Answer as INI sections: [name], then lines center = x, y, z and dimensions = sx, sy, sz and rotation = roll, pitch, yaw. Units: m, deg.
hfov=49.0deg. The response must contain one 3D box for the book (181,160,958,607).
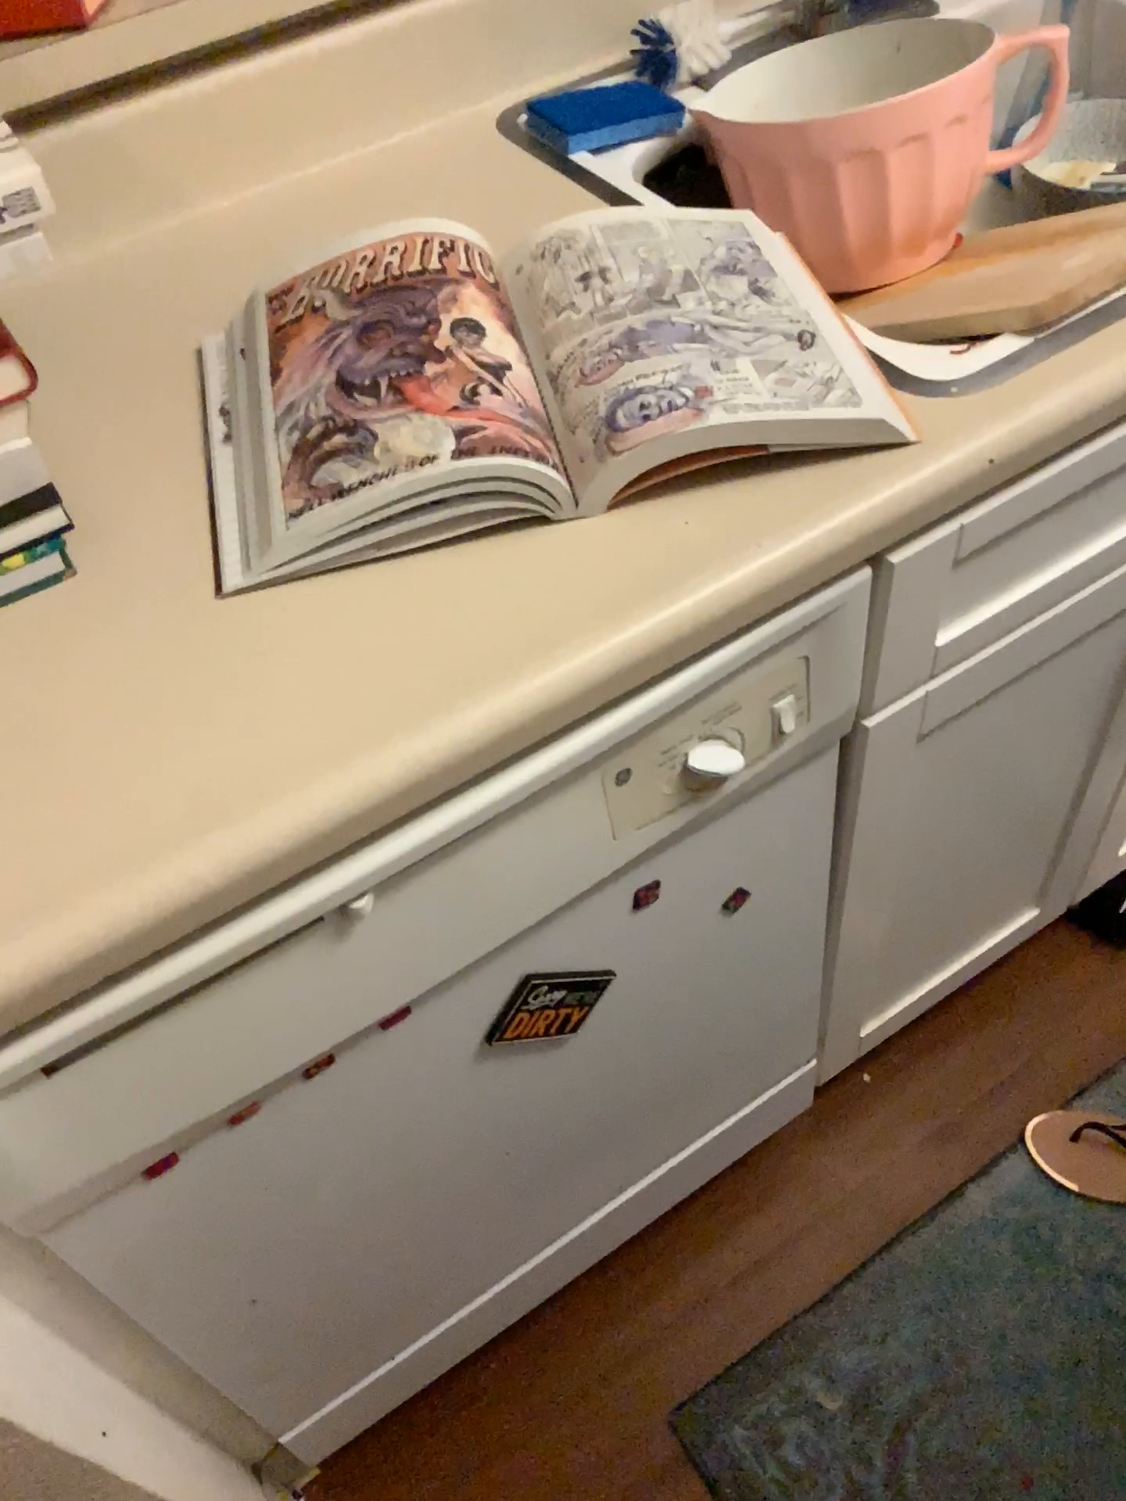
[book]
center = -0.018, -0.247, 0.779
dimensions = 0.430, 0.050, 0.280
rotation = -13, 50, -4
